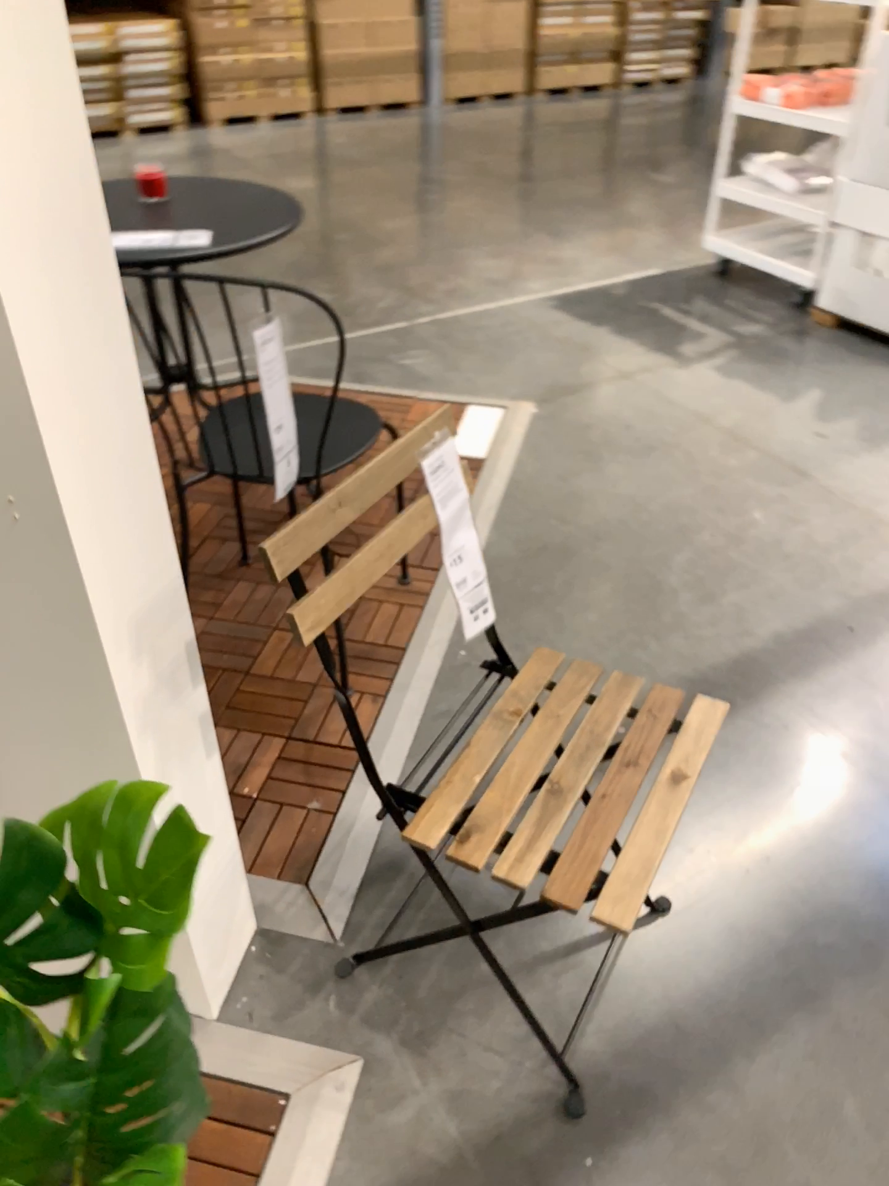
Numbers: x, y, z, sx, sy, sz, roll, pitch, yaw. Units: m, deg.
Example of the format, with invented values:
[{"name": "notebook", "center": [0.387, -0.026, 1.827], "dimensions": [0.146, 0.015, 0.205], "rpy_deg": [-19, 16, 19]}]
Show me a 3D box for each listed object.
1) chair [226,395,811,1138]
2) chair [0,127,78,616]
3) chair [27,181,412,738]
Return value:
[{"name": "chair", "center": [0.091, 0.212, 1.164], "dimensions": [0.477, 0.721, 0.410], "rpy_deg": [19, 40, 23]}, {"name": "chair", "center": [-1.212, -0.473, 1.952], "dimensions": [0.547, 0.831, 0.379], "rpy_deg": [-23, 43, -29]}, {"name": "chair", "center": [-0.330, -0.252, 1.710], "dimensions": [0.398, 0.821, 0.559], "rpy_deg": [8, 37, 10]}]
